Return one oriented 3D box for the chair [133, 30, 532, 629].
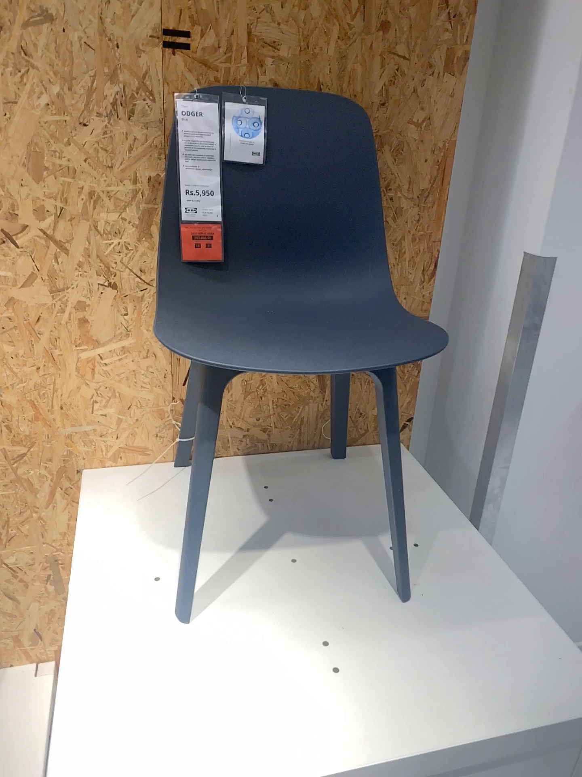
[{"bbox_3d":[-0.008,-0.102,0.993,0.430,0.767,0.502,-1,23,-11],"label":"chair"}]
